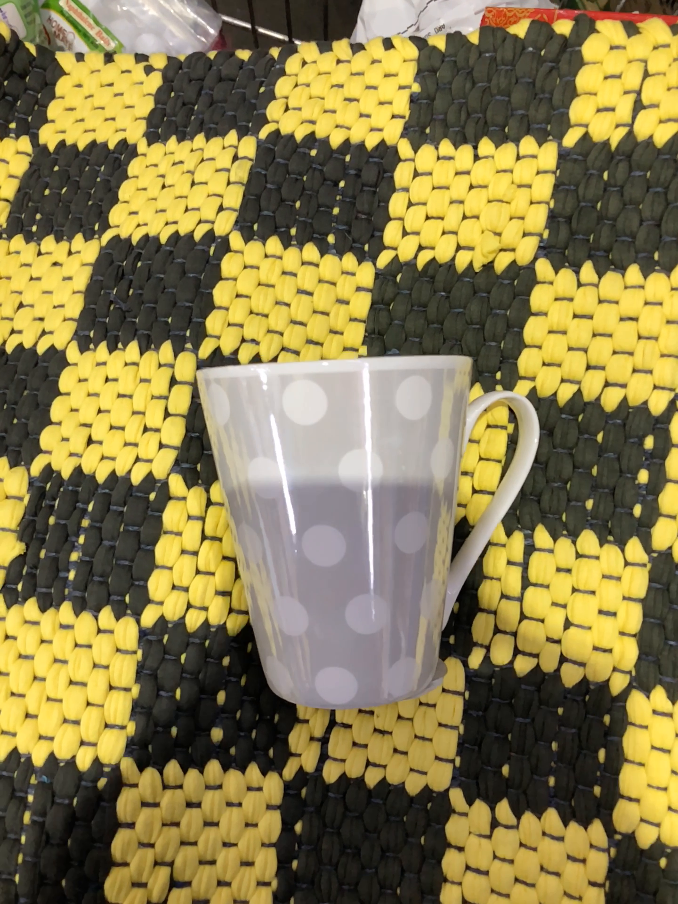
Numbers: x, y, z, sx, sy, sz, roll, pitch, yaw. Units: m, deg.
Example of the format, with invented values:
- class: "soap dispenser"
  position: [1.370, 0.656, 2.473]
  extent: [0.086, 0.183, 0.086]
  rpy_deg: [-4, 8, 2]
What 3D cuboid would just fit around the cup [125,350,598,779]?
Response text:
- class: "cup"
  position: [0.009, 0.021, 0.245]
  extent: [0.120, 0.090, 0.100]
  rpy_deg: [-6, 95, -37]
